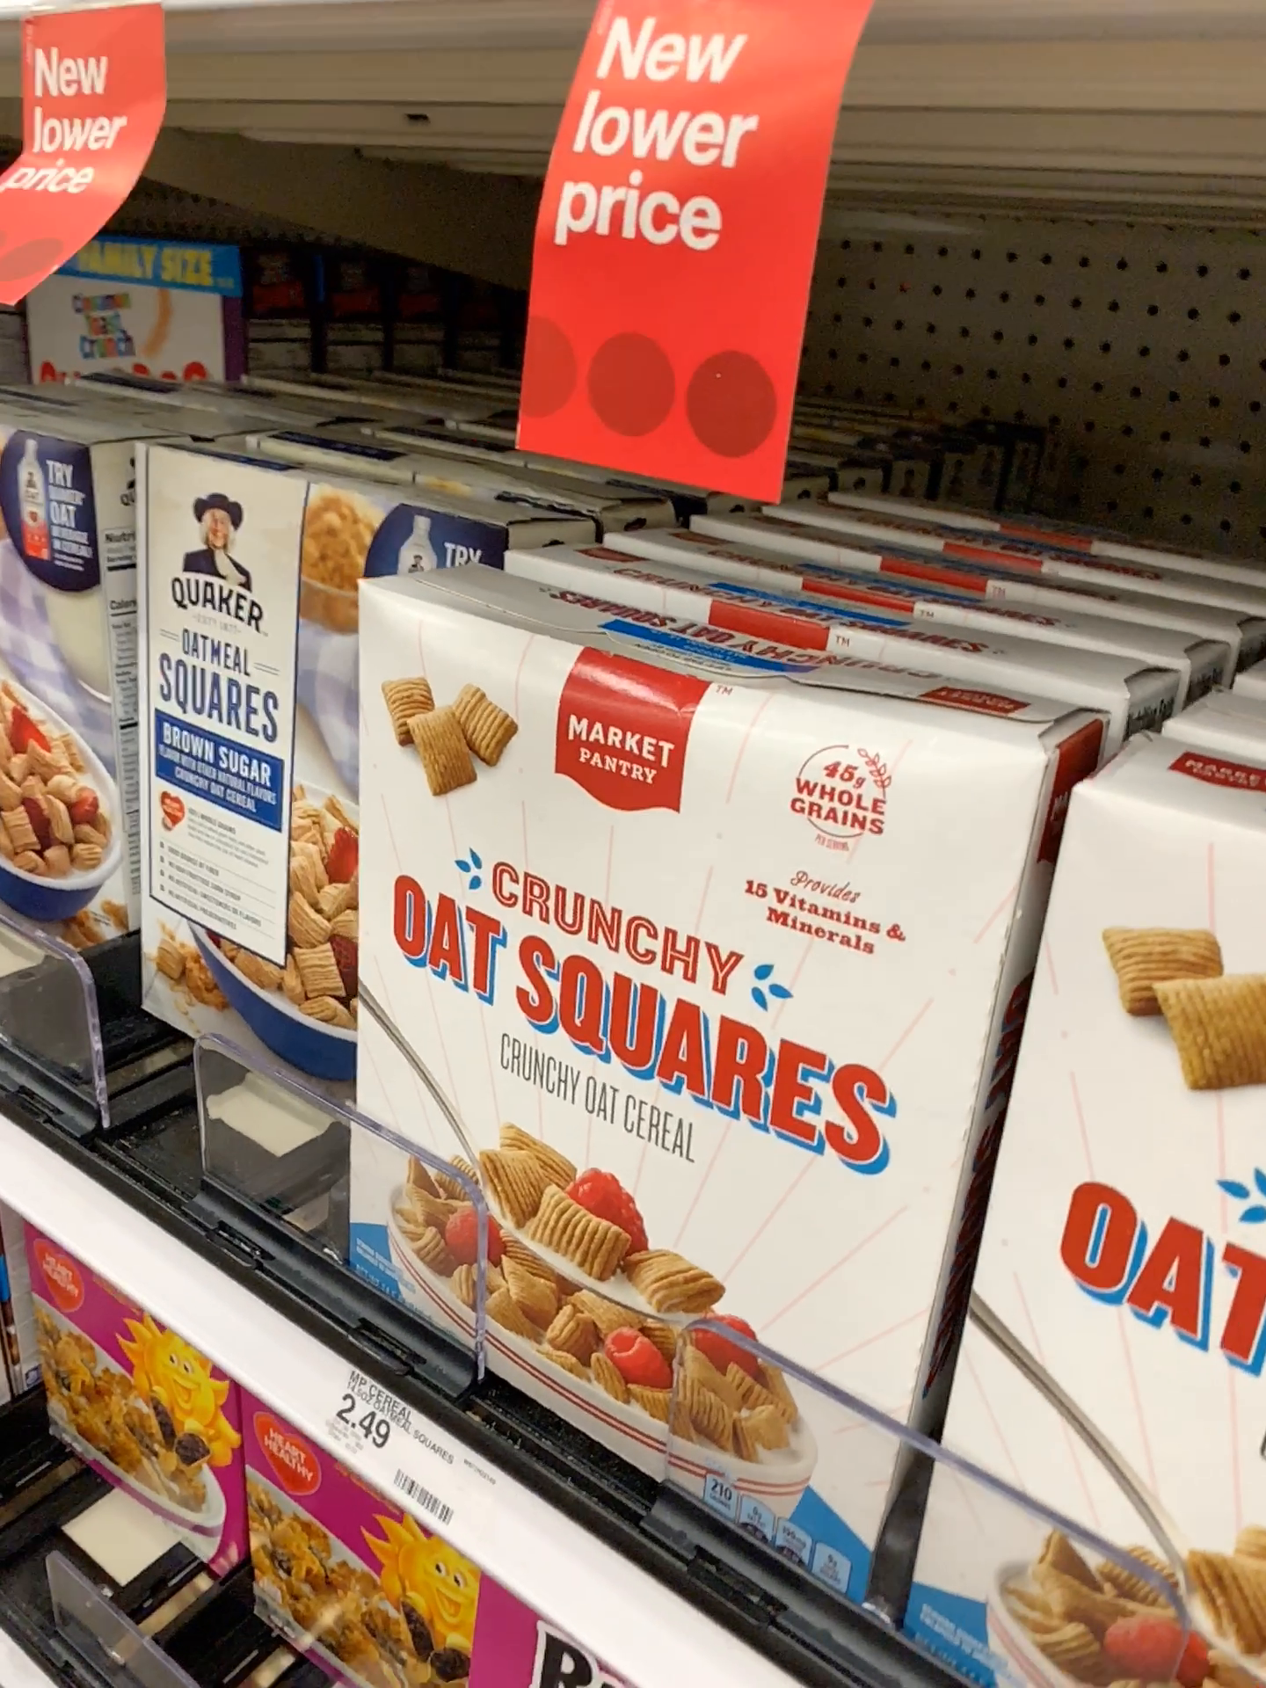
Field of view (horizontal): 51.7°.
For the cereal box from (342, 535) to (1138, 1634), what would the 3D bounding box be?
[{"bbox_3d":[0.009,0.058,0.367,0.190,0.249,0.060,19,26,29],"label":"cereal box"}]
